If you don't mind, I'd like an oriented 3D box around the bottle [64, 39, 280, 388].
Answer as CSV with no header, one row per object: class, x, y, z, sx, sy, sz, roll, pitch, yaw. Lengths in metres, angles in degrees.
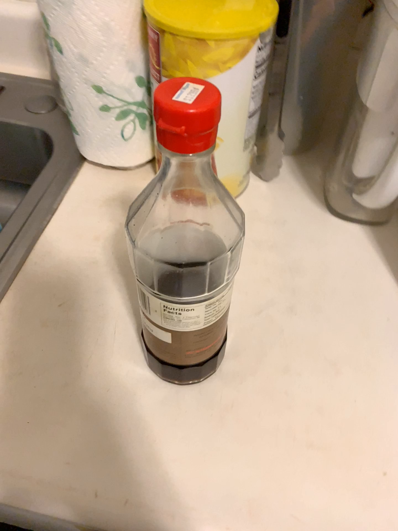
bottle,-0.015,-0.006,0.301,0.090,0.259,0.090,2,52,-2
